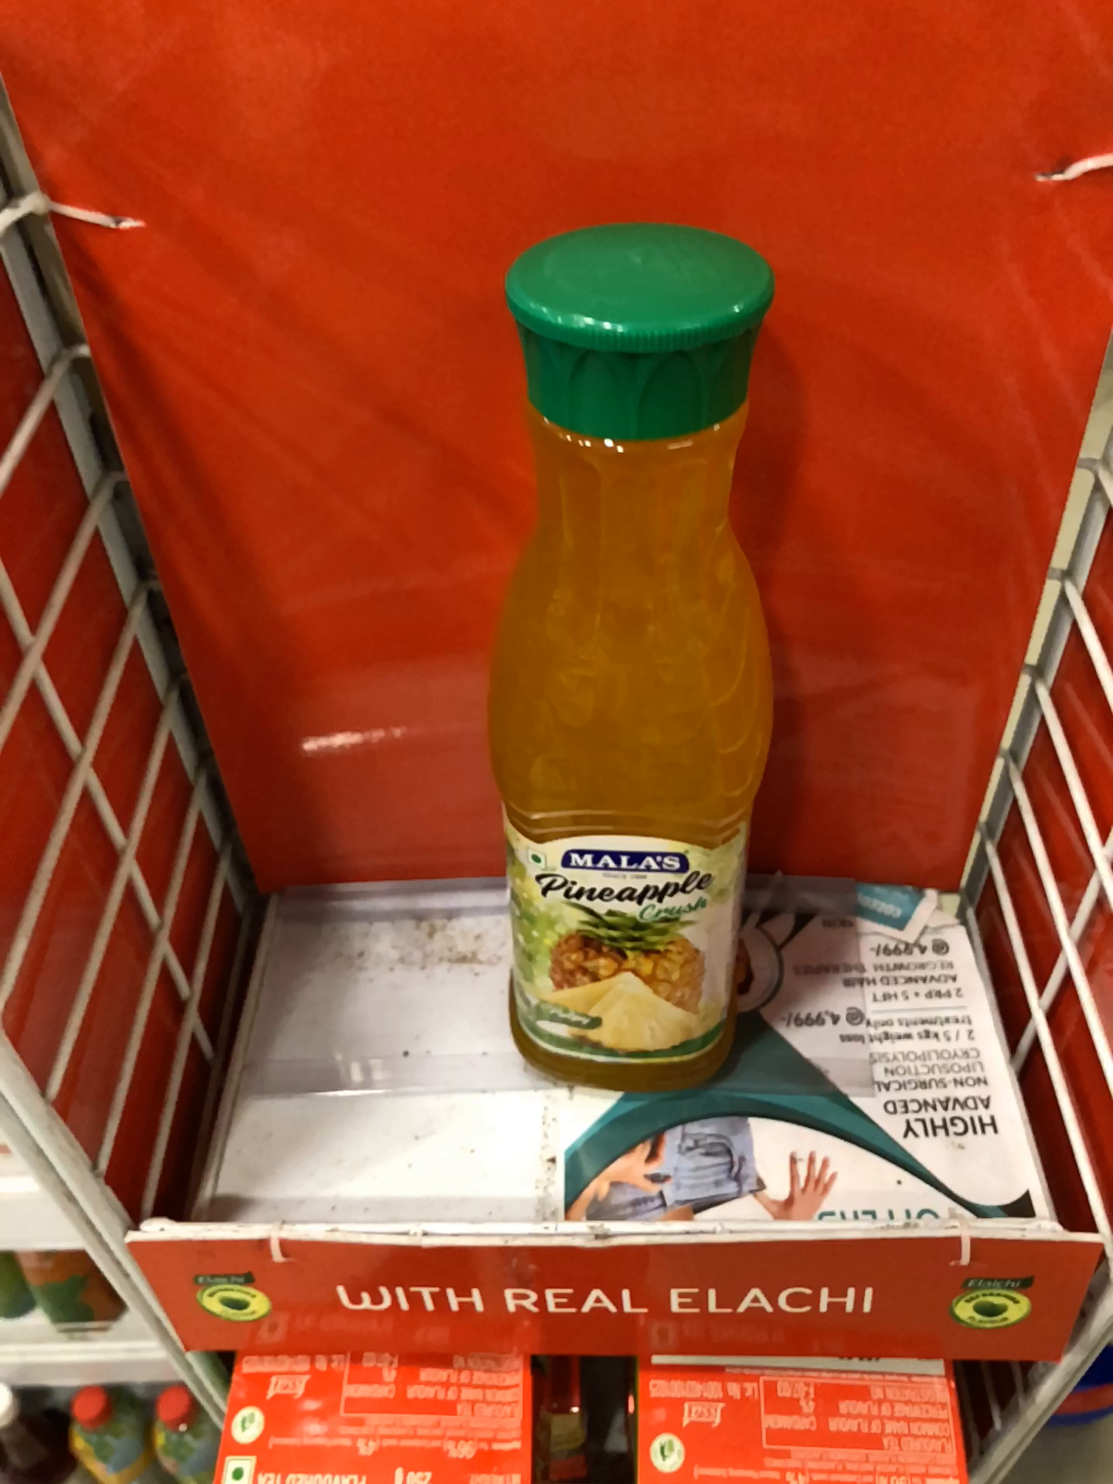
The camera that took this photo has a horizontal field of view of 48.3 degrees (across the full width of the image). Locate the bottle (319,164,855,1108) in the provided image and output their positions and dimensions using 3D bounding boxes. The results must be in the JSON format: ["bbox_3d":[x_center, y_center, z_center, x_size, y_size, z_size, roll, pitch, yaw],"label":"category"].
[{"bbox_3d":[0.012,-0.003,0.324,0.090,0.258,0.071,2,45,5],"label":"bottle"}]
